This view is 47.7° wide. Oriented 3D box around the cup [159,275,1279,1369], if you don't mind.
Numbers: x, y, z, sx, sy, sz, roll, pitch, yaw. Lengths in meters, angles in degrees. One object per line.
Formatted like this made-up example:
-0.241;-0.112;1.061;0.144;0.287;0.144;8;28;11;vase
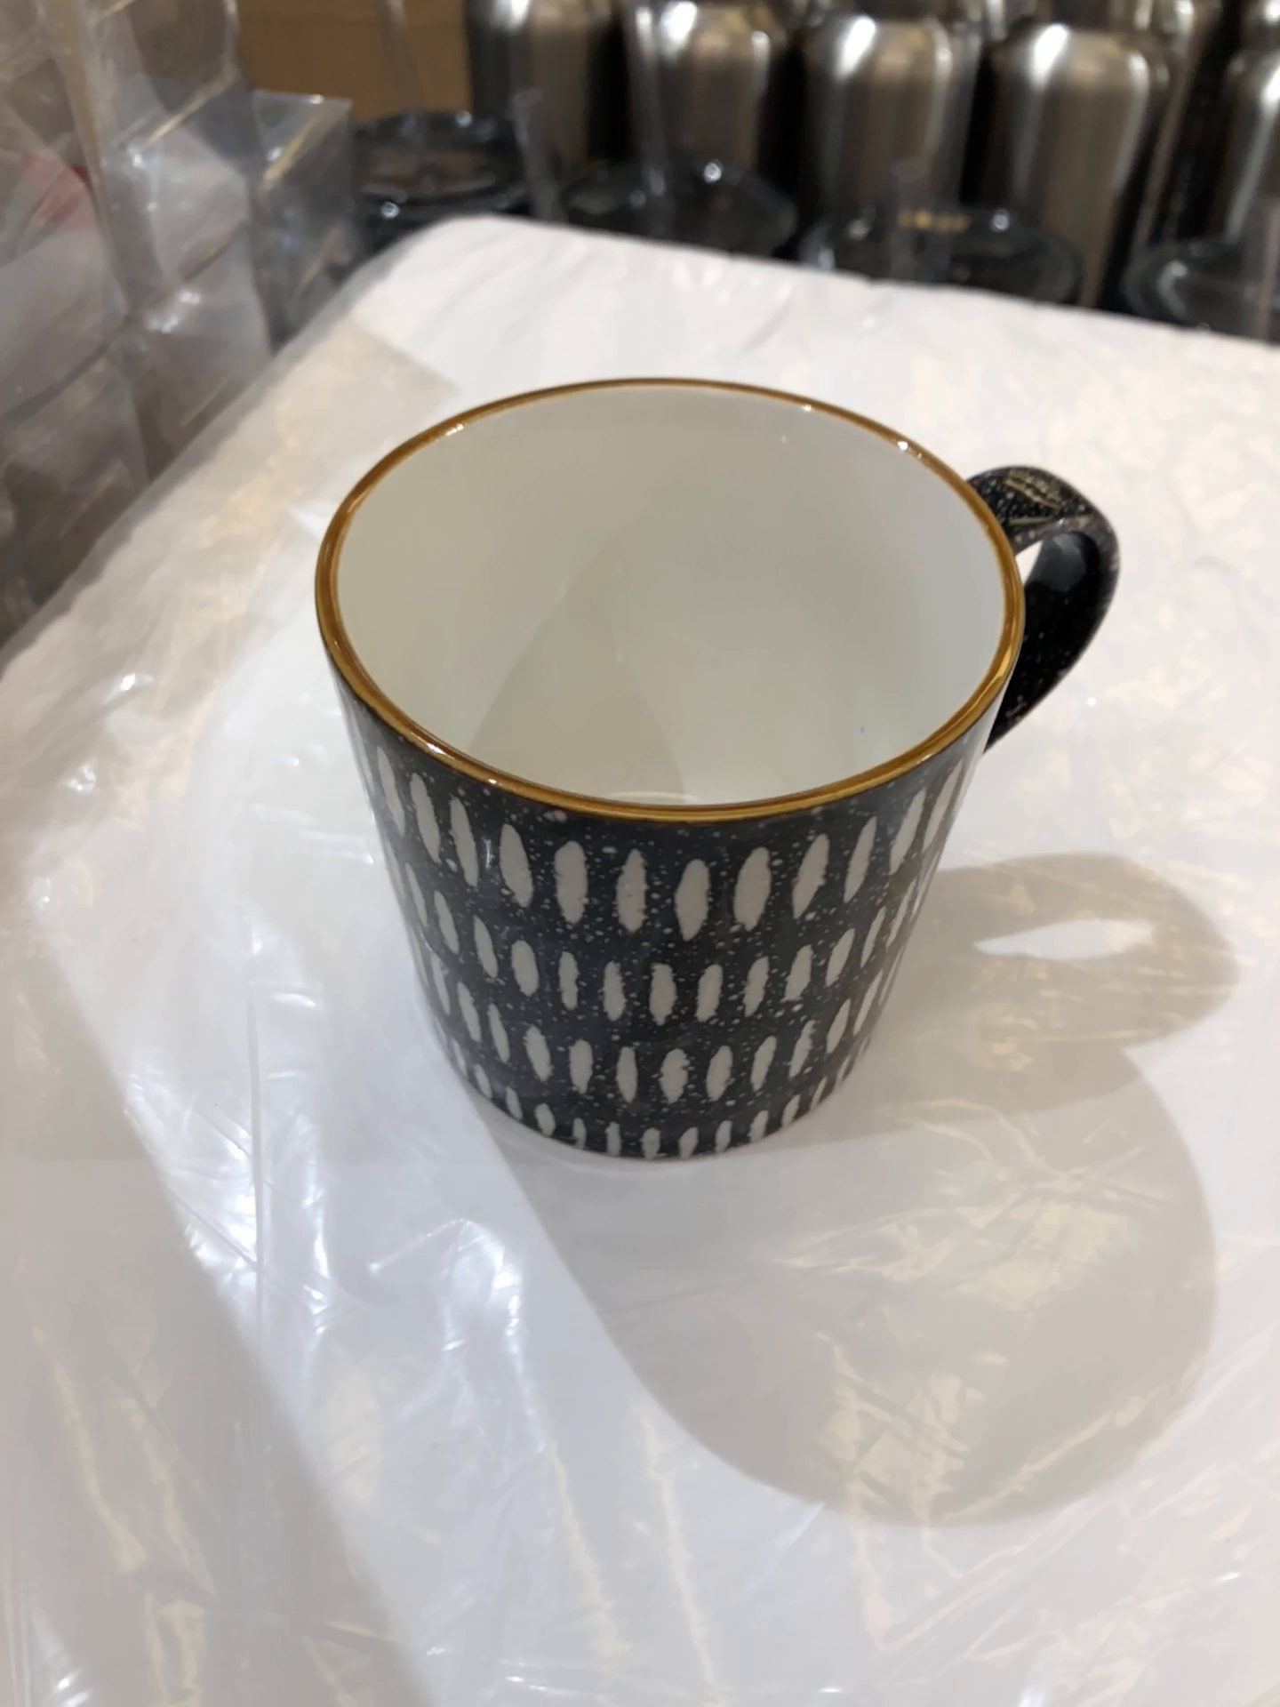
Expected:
0.012;-0.010;0.193;0.110;0.079;0.080;-24;52;-21;cup
